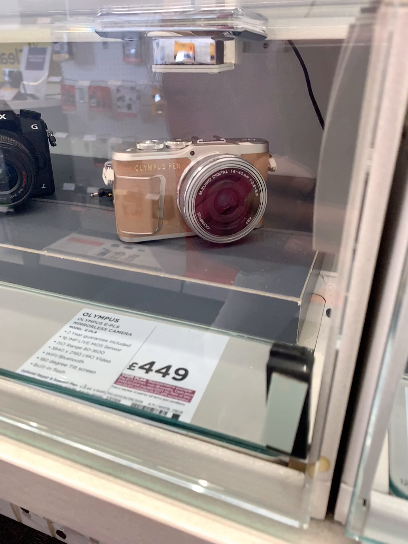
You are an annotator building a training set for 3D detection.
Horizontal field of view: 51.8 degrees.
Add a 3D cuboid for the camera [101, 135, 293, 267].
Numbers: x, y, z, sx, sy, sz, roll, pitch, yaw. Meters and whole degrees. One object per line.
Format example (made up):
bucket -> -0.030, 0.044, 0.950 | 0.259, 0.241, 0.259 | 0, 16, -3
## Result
camera -> -0.007, -0.056, 0.305 | 0.120, 0.069, 0.060 | -8, 27, -16
